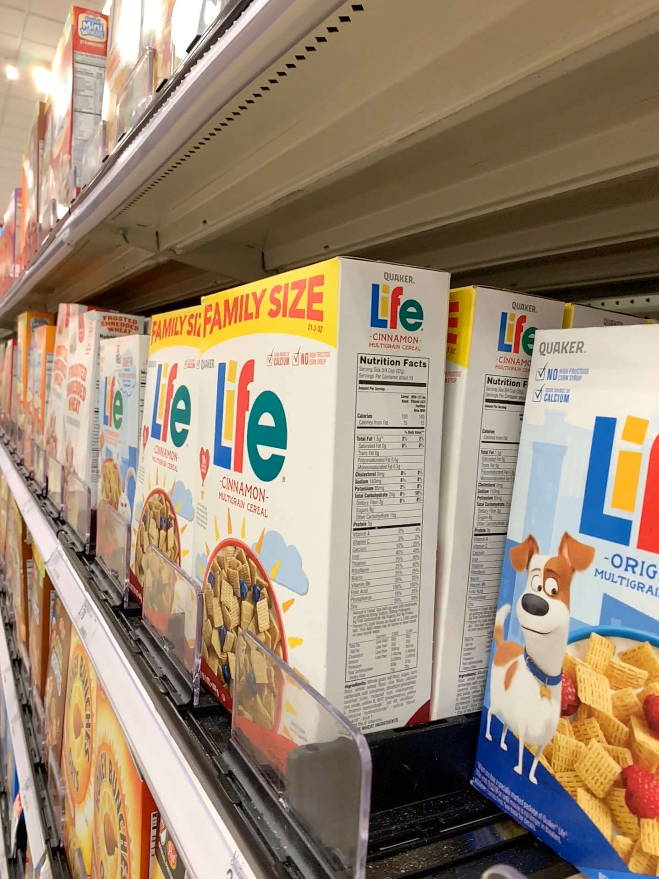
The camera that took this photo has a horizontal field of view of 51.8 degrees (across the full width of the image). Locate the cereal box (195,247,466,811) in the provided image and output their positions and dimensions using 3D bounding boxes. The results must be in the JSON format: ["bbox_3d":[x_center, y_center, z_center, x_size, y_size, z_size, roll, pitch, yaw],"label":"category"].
[{"bbox_3d":[-0.014,0.037,0.411,0.070,0.260,0.190,2,3,-27],"label":"cereal box"}]
